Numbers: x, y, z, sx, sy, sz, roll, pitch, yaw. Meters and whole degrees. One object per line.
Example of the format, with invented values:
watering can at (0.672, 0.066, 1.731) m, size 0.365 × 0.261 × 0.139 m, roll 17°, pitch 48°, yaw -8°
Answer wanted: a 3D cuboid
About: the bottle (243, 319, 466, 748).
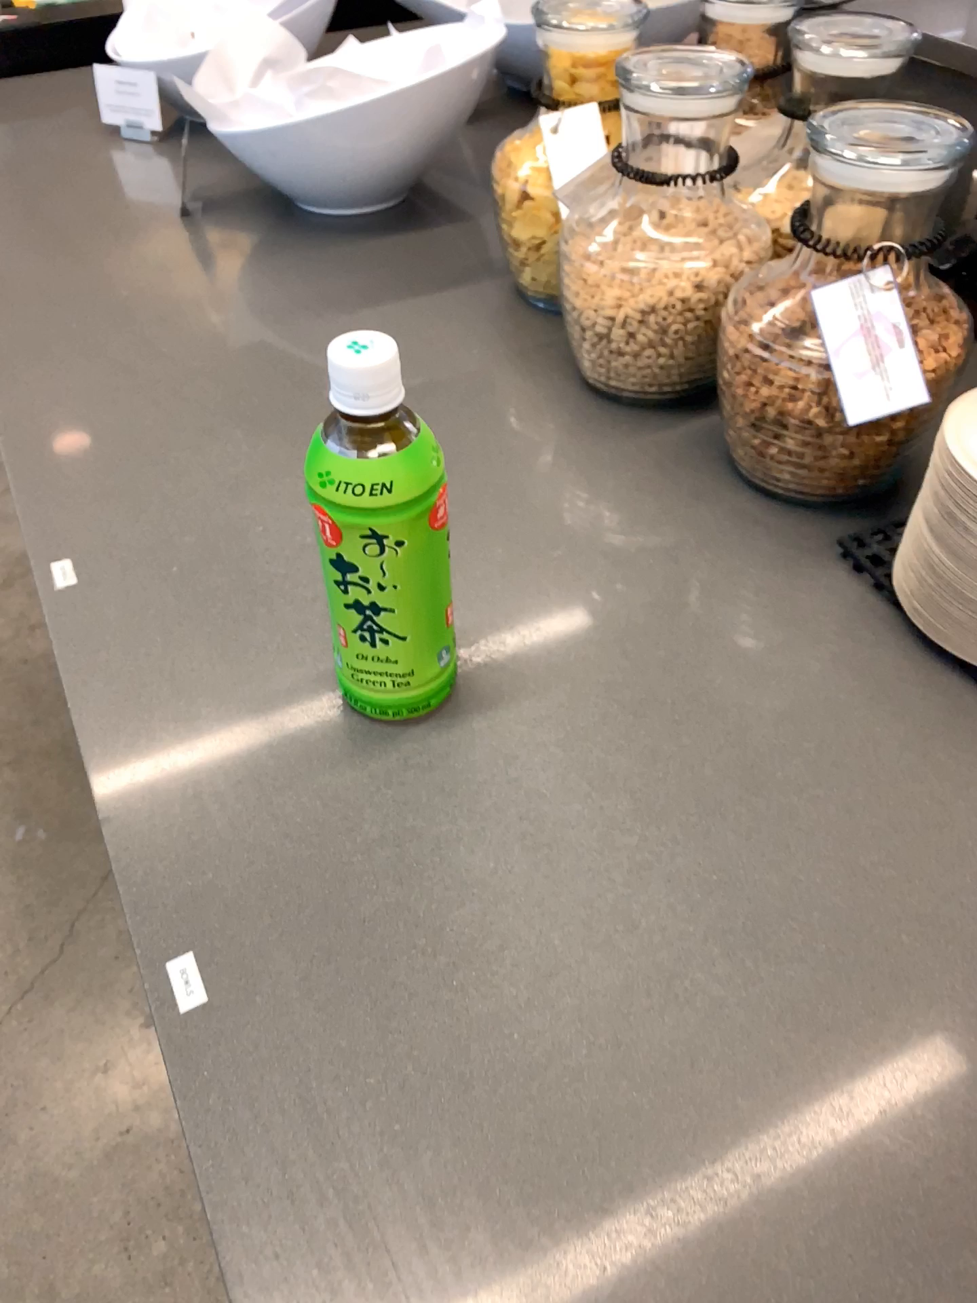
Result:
bottle at (-0.056, -0.050, 0.495) m, size 0.070 × 0.199 × 0.070 m, roll -1°, pitch 44°, yaw 1°
